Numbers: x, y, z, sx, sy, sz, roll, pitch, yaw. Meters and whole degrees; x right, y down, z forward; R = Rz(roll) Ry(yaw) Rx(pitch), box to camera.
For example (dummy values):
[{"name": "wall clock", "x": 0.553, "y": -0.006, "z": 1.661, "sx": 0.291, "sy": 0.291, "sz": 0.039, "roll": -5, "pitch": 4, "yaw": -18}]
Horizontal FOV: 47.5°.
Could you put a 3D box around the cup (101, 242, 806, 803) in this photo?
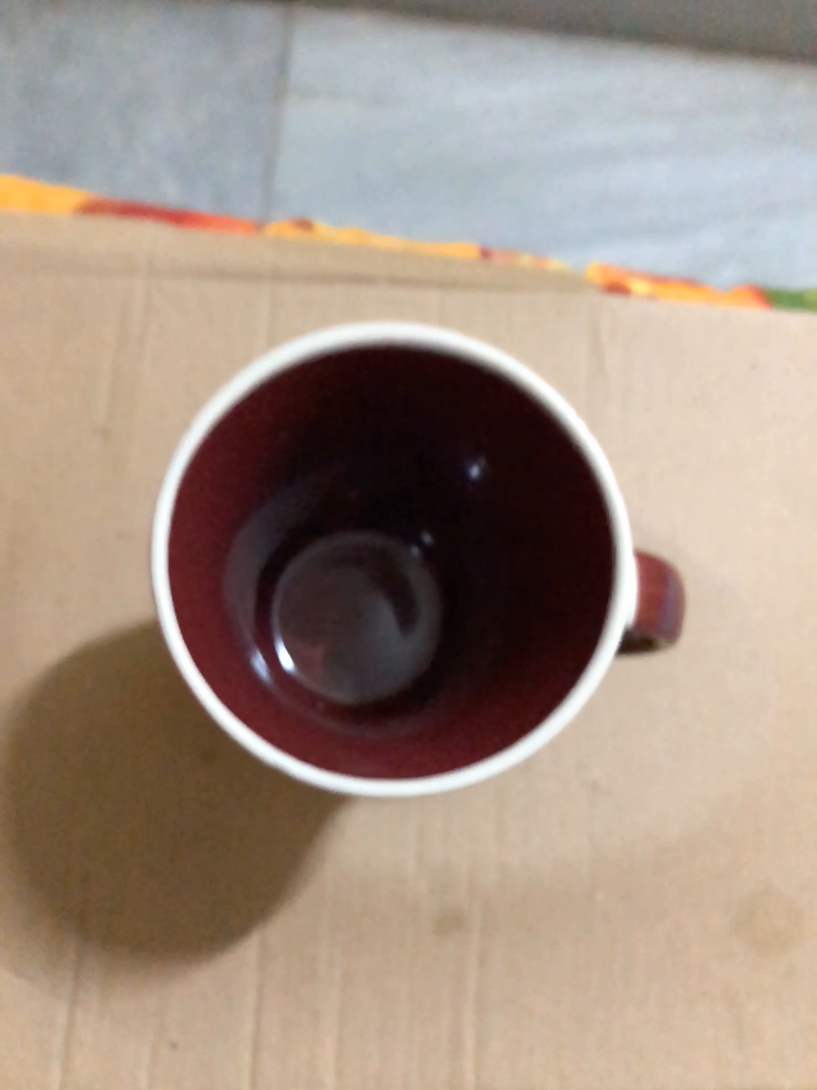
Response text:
[{"name": "cup", "x": 0.010, "y": 0.007, "z": 0.236, "sx": 0.130, "sy": 0.110, "sz": 0.100, "roll": 6, "pitch": 75, "yaw": -4}]
